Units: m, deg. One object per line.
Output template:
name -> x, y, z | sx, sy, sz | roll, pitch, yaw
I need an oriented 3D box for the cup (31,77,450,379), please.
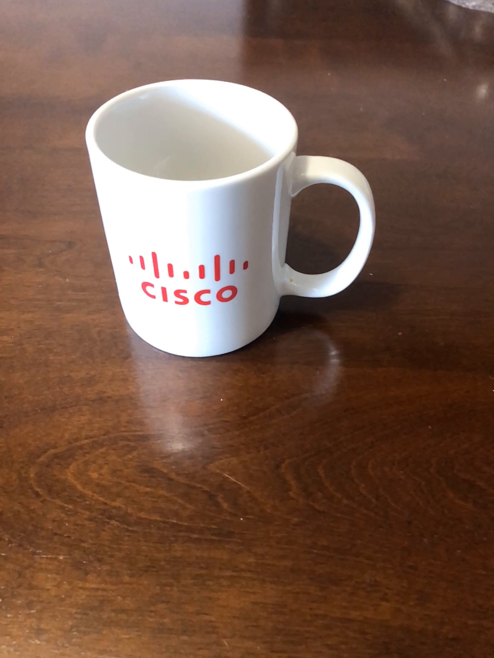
cup -> -0.002, -0.041, 0.231 | 0.130, 0.090, 0.080 | 2, 47, 1
